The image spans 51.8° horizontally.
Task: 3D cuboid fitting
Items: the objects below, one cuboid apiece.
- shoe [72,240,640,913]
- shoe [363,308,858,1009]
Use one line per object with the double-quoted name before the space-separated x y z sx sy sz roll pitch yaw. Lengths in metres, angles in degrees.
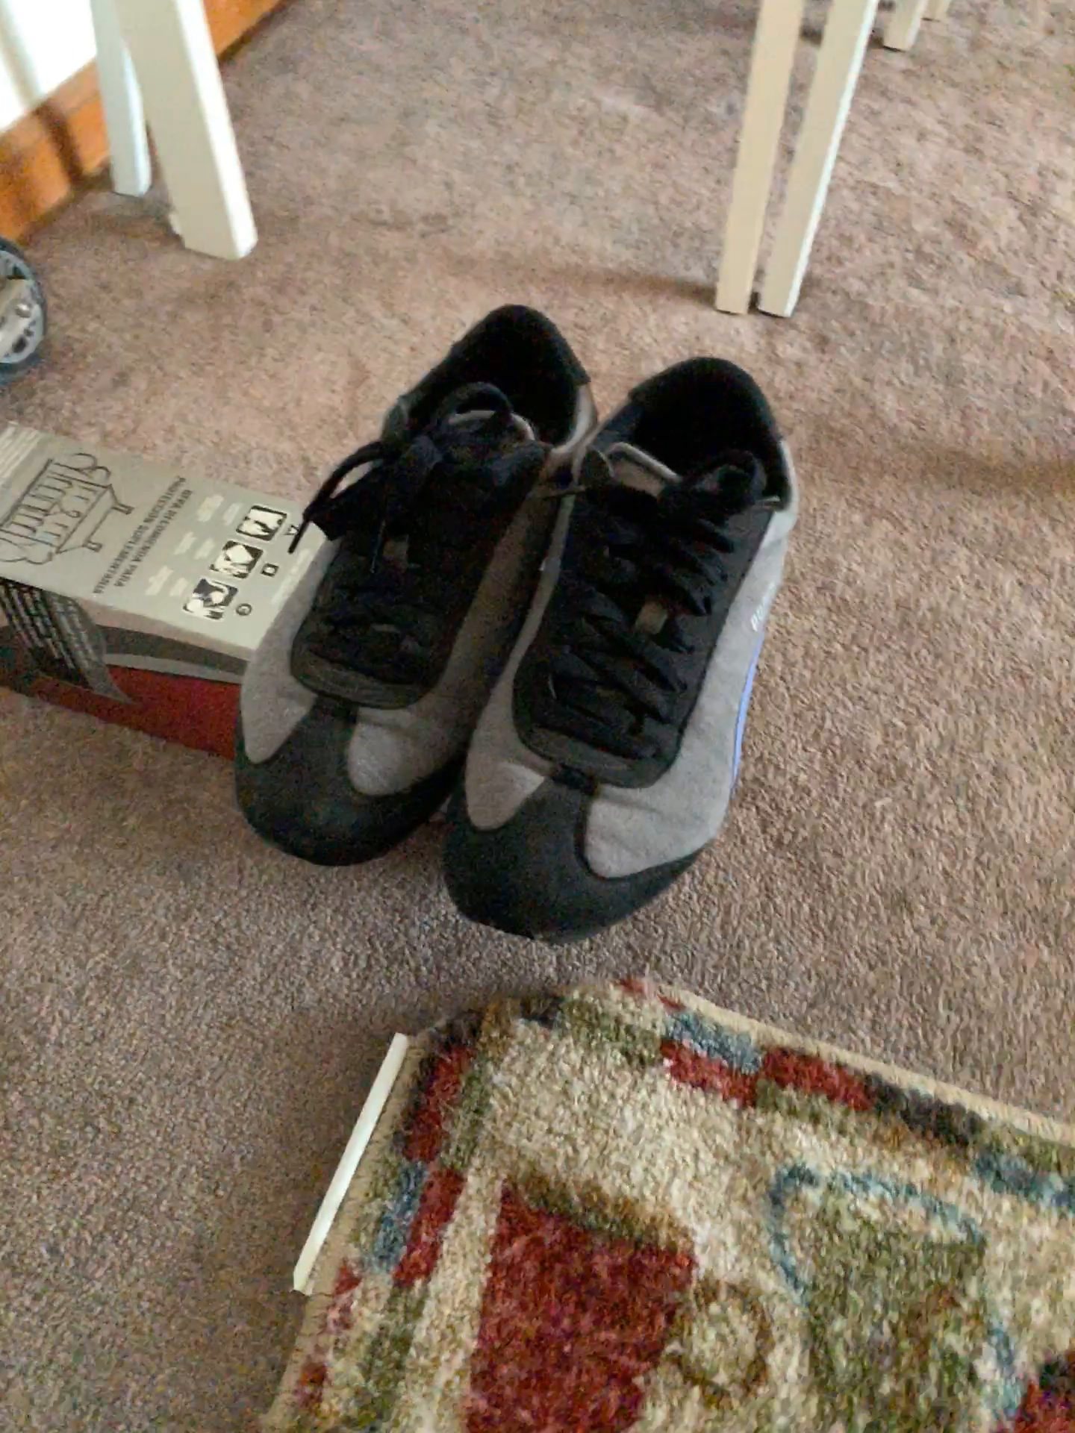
"shoe" -0.052 -0.064 0.424 0.110 0.077 0.242 17 61 9
"shoe" 0.039 -0.036 0.414 0.100 0.077 0.252 15 58 14
